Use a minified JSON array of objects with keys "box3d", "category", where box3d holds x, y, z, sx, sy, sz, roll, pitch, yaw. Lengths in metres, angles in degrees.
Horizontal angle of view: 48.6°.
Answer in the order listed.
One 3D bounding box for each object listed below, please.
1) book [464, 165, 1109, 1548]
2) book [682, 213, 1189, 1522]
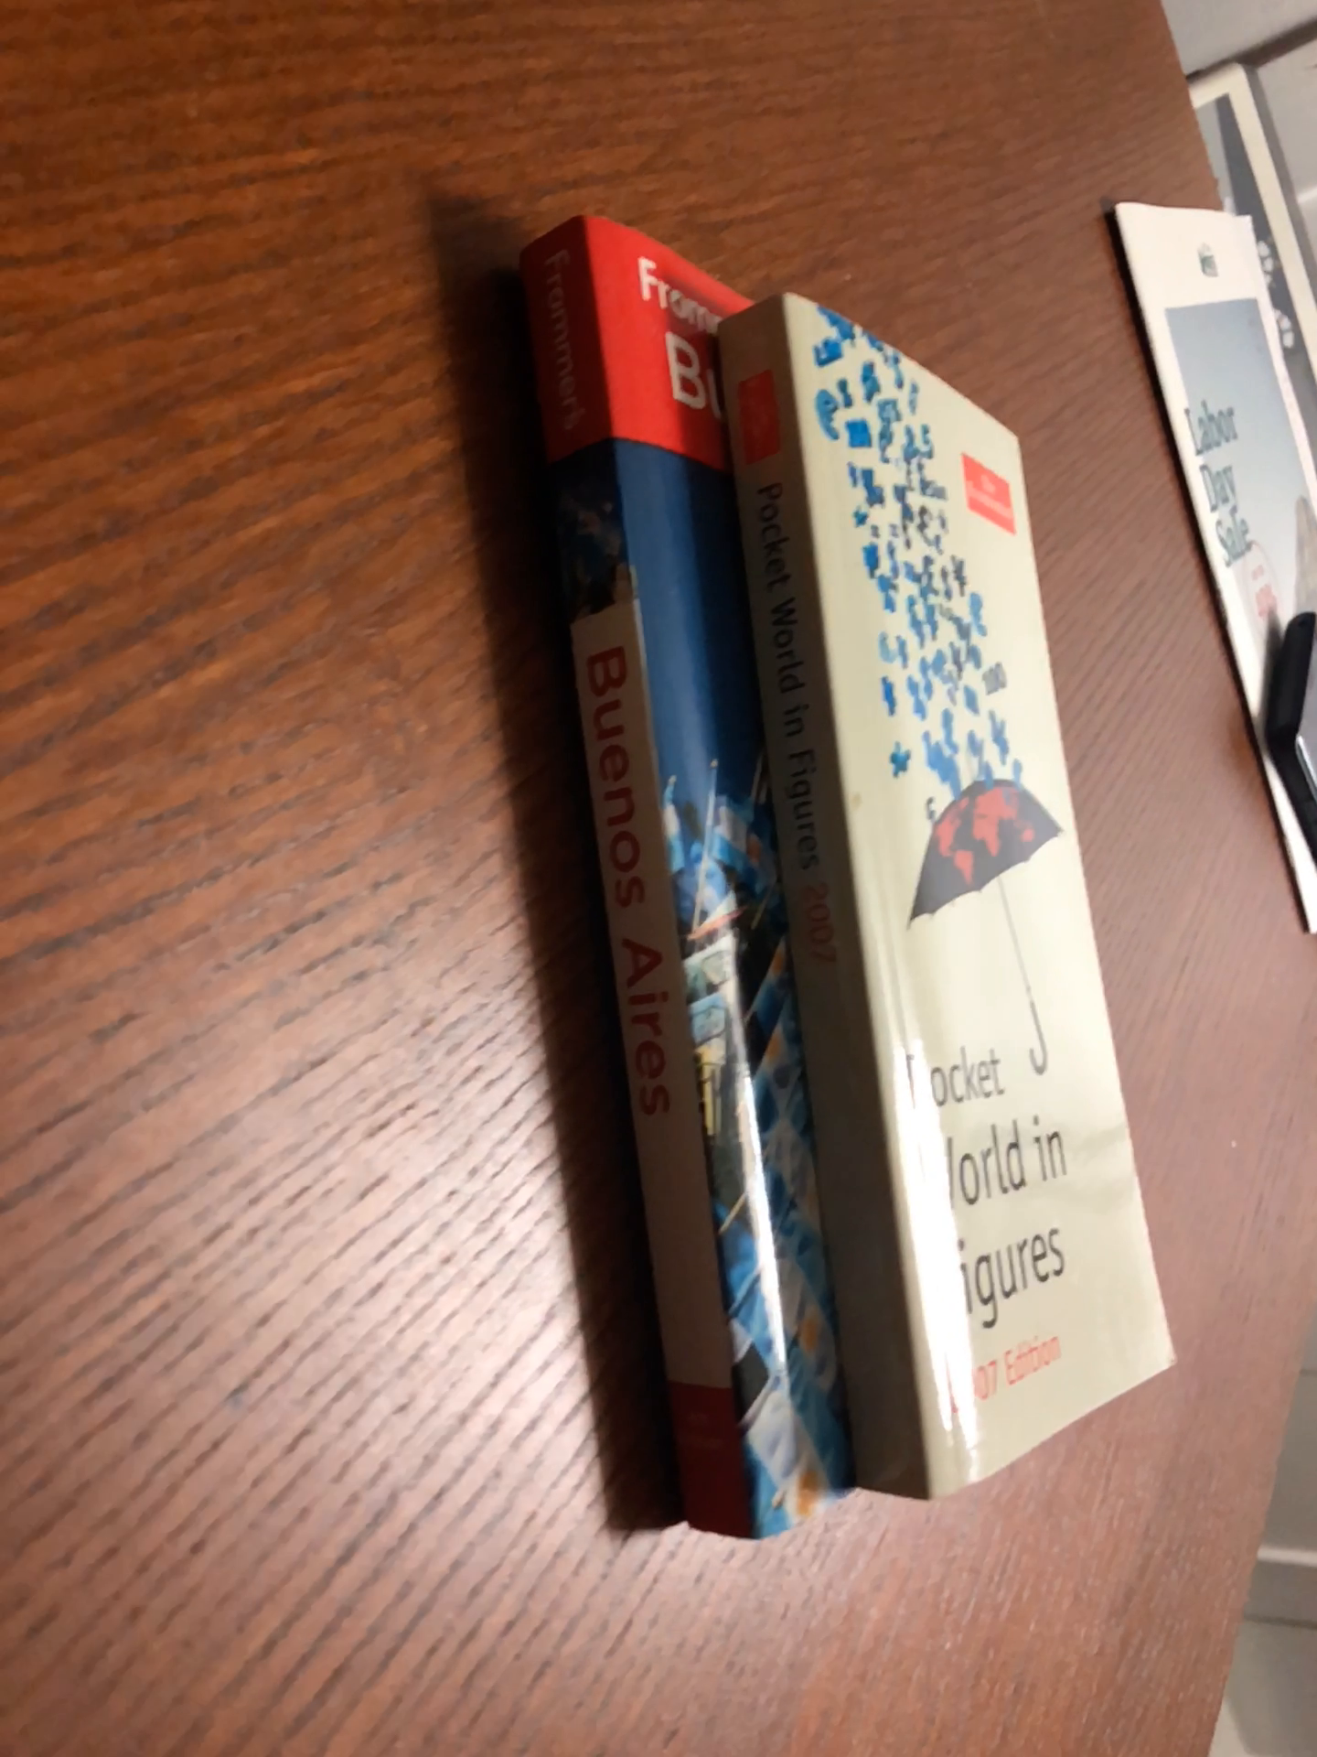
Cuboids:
[{"box3d":[0.033,-0.007,0.279,0.141,0.020,0.210,-1,81,-52],"category":"book"},{"box3d":[0.054,-0.004,0.265,0.100,0.020,0.200,3,78,-51],"category":"book"}]
